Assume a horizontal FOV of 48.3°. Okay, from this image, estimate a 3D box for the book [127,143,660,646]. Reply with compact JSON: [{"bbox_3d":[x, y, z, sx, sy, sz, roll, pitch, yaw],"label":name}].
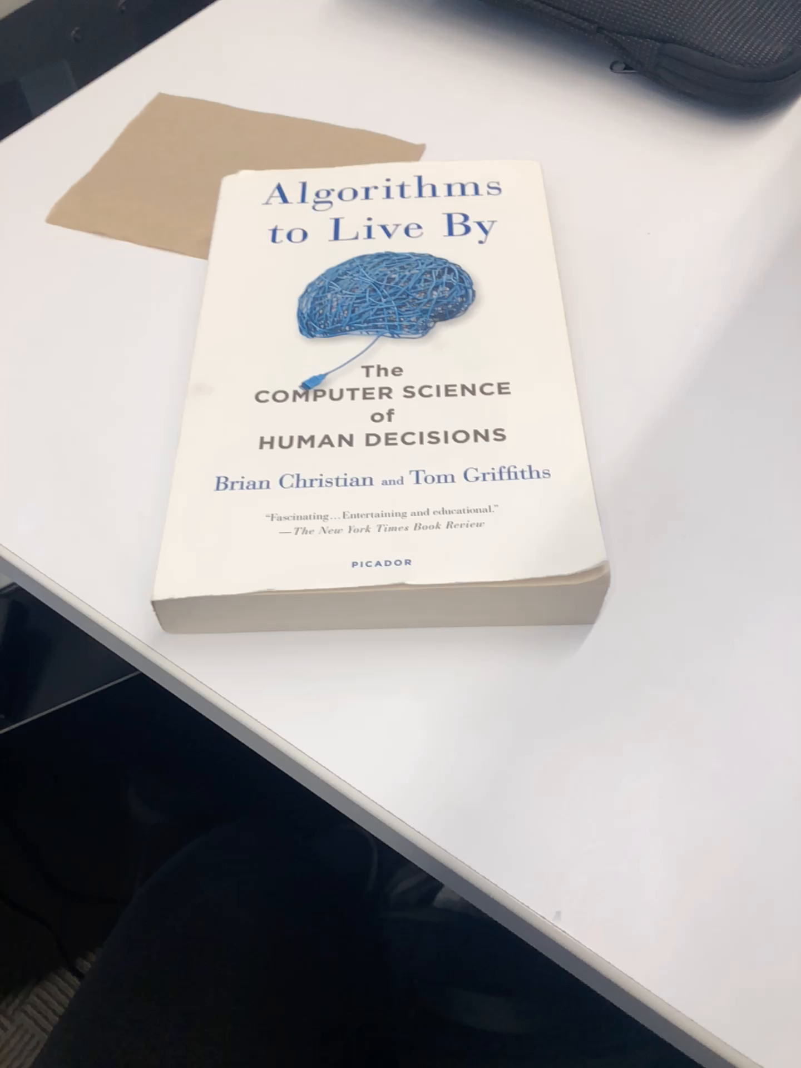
[{"bbox_3d":[-0.003,-0.066,0.347,0.160,0.040,0.221,-2,55,2],"label":"book"}]
